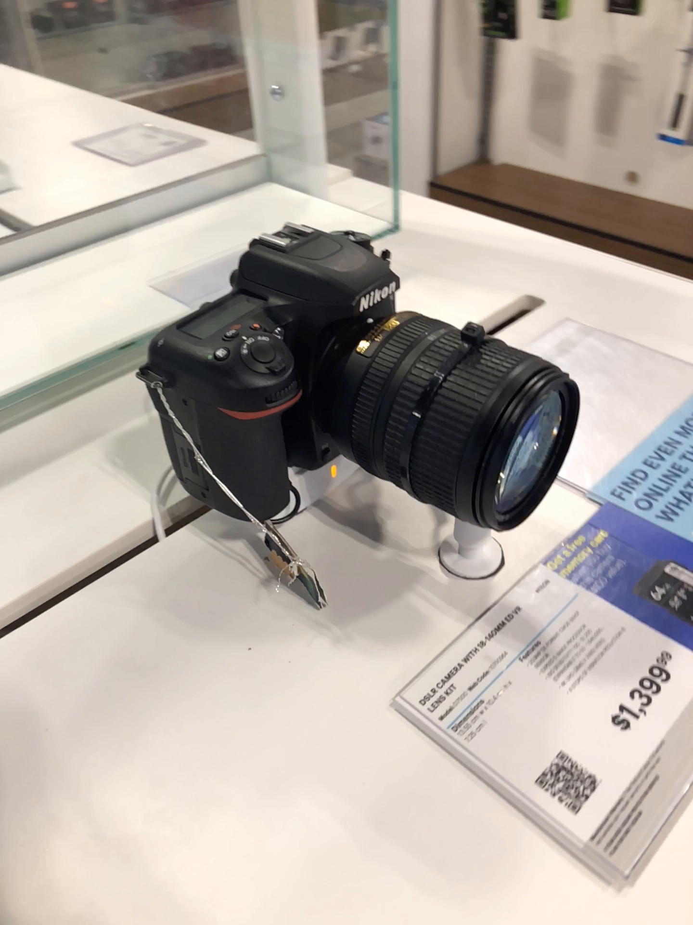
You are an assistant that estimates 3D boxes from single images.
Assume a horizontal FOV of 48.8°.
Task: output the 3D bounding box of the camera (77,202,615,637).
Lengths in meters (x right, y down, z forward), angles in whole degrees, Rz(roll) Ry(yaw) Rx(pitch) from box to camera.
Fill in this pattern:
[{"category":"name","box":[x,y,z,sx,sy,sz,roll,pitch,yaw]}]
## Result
[{"category":"camera","box":[-0.002,-0.039,0.361,0.191,0.089,0.140,27,47,32]}]
